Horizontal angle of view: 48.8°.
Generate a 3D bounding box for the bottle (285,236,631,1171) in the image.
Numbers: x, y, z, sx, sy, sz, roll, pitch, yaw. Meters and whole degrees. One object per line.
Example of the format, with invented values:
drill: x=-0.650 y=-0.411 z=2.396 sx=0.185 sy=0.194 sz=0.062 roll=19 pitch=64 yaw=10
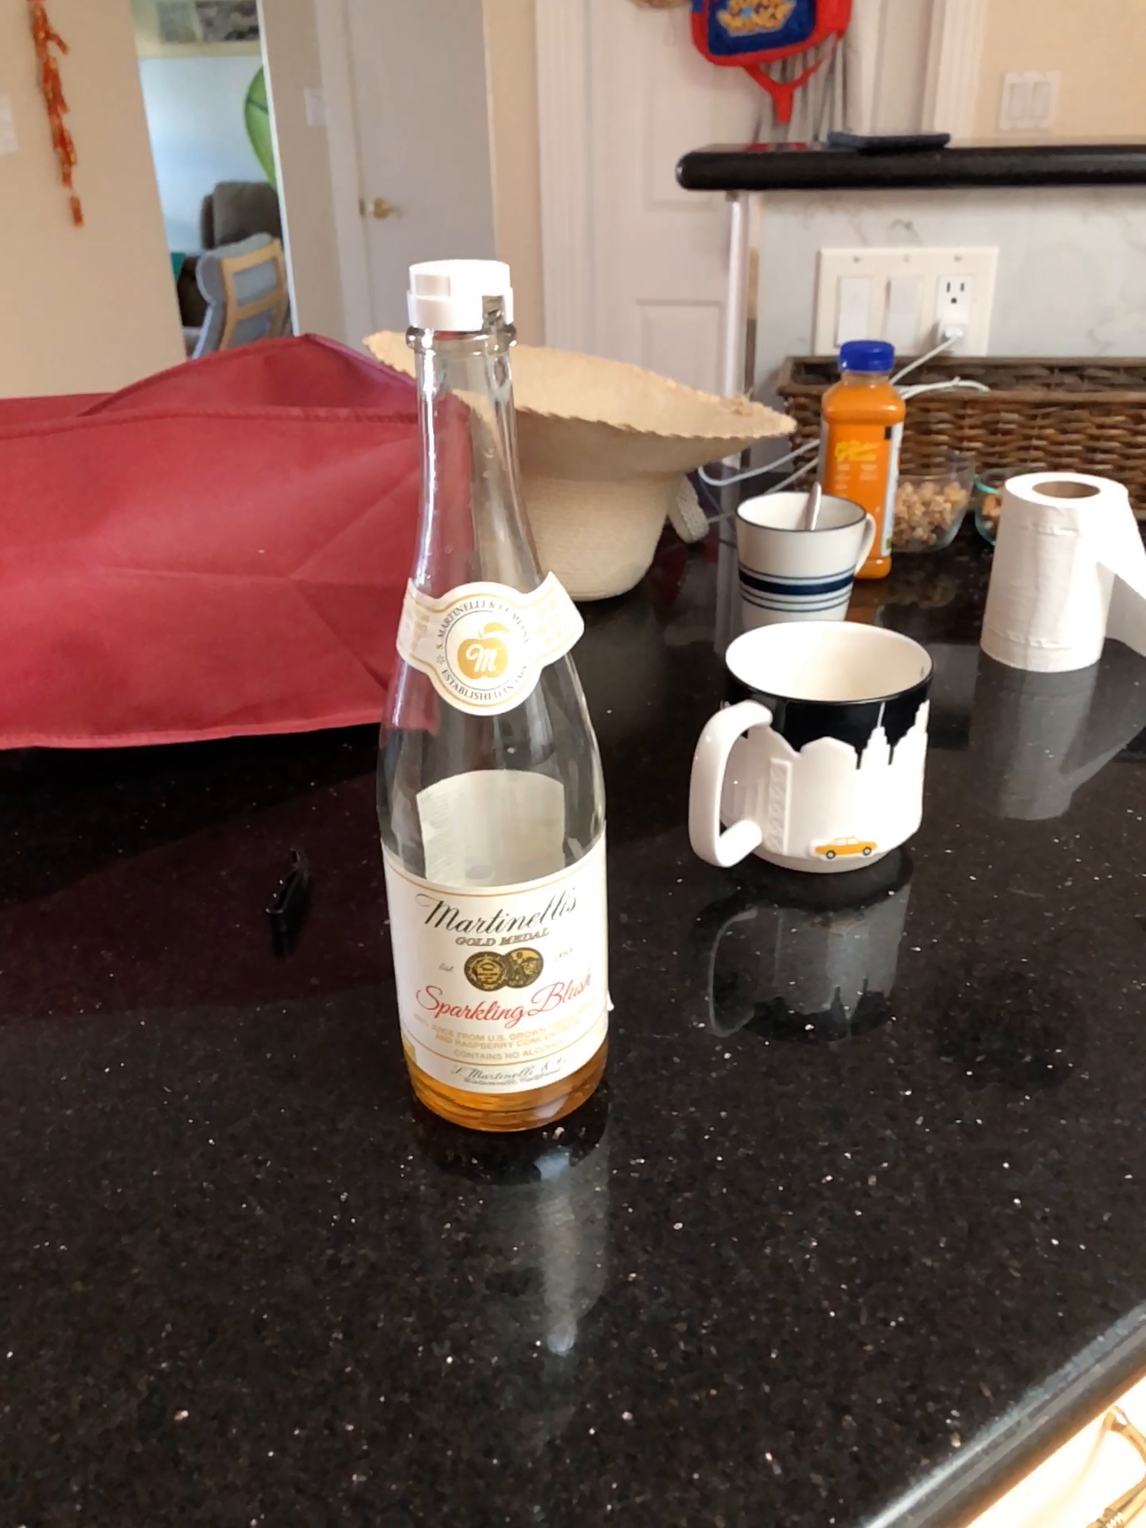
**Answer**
bottle: x=-0.031 y=-0.009 z=0.464 sx=0.093 sy=0.330 sz=0.101 roll=-1 pitch=29 yaw=0
